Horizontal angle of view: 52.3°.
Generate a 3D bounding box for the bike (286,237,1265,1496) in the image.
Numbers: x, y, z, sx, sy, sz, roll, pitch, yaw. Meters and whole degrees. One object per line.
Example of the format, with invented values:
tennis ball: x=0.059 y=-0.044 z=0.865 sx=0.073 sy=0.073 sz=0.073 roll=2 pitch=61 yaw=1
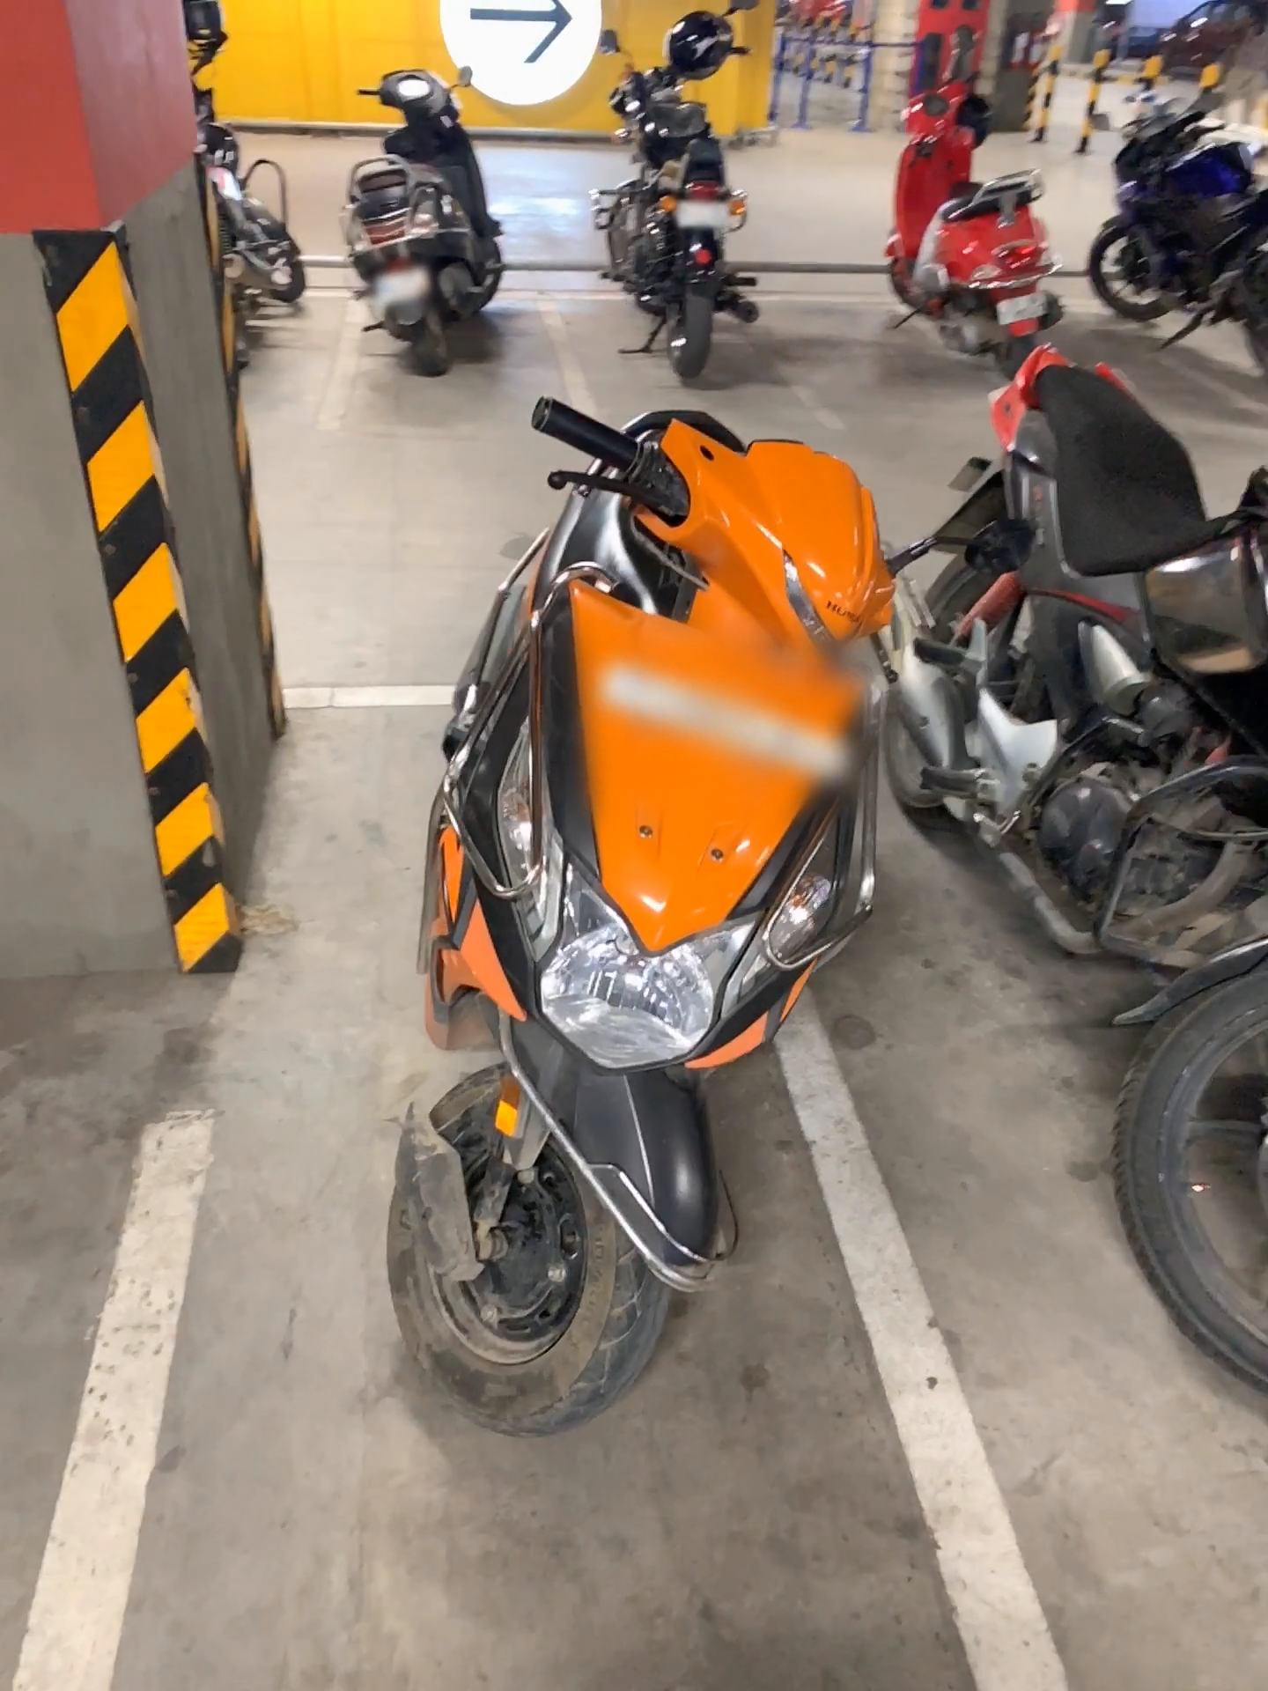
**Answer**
bike: x=0.126 y=-0.145 z=1.943 sx=0.724 sy=1.172 sz=1.614 roll=3 pitch=33 yaw=0
